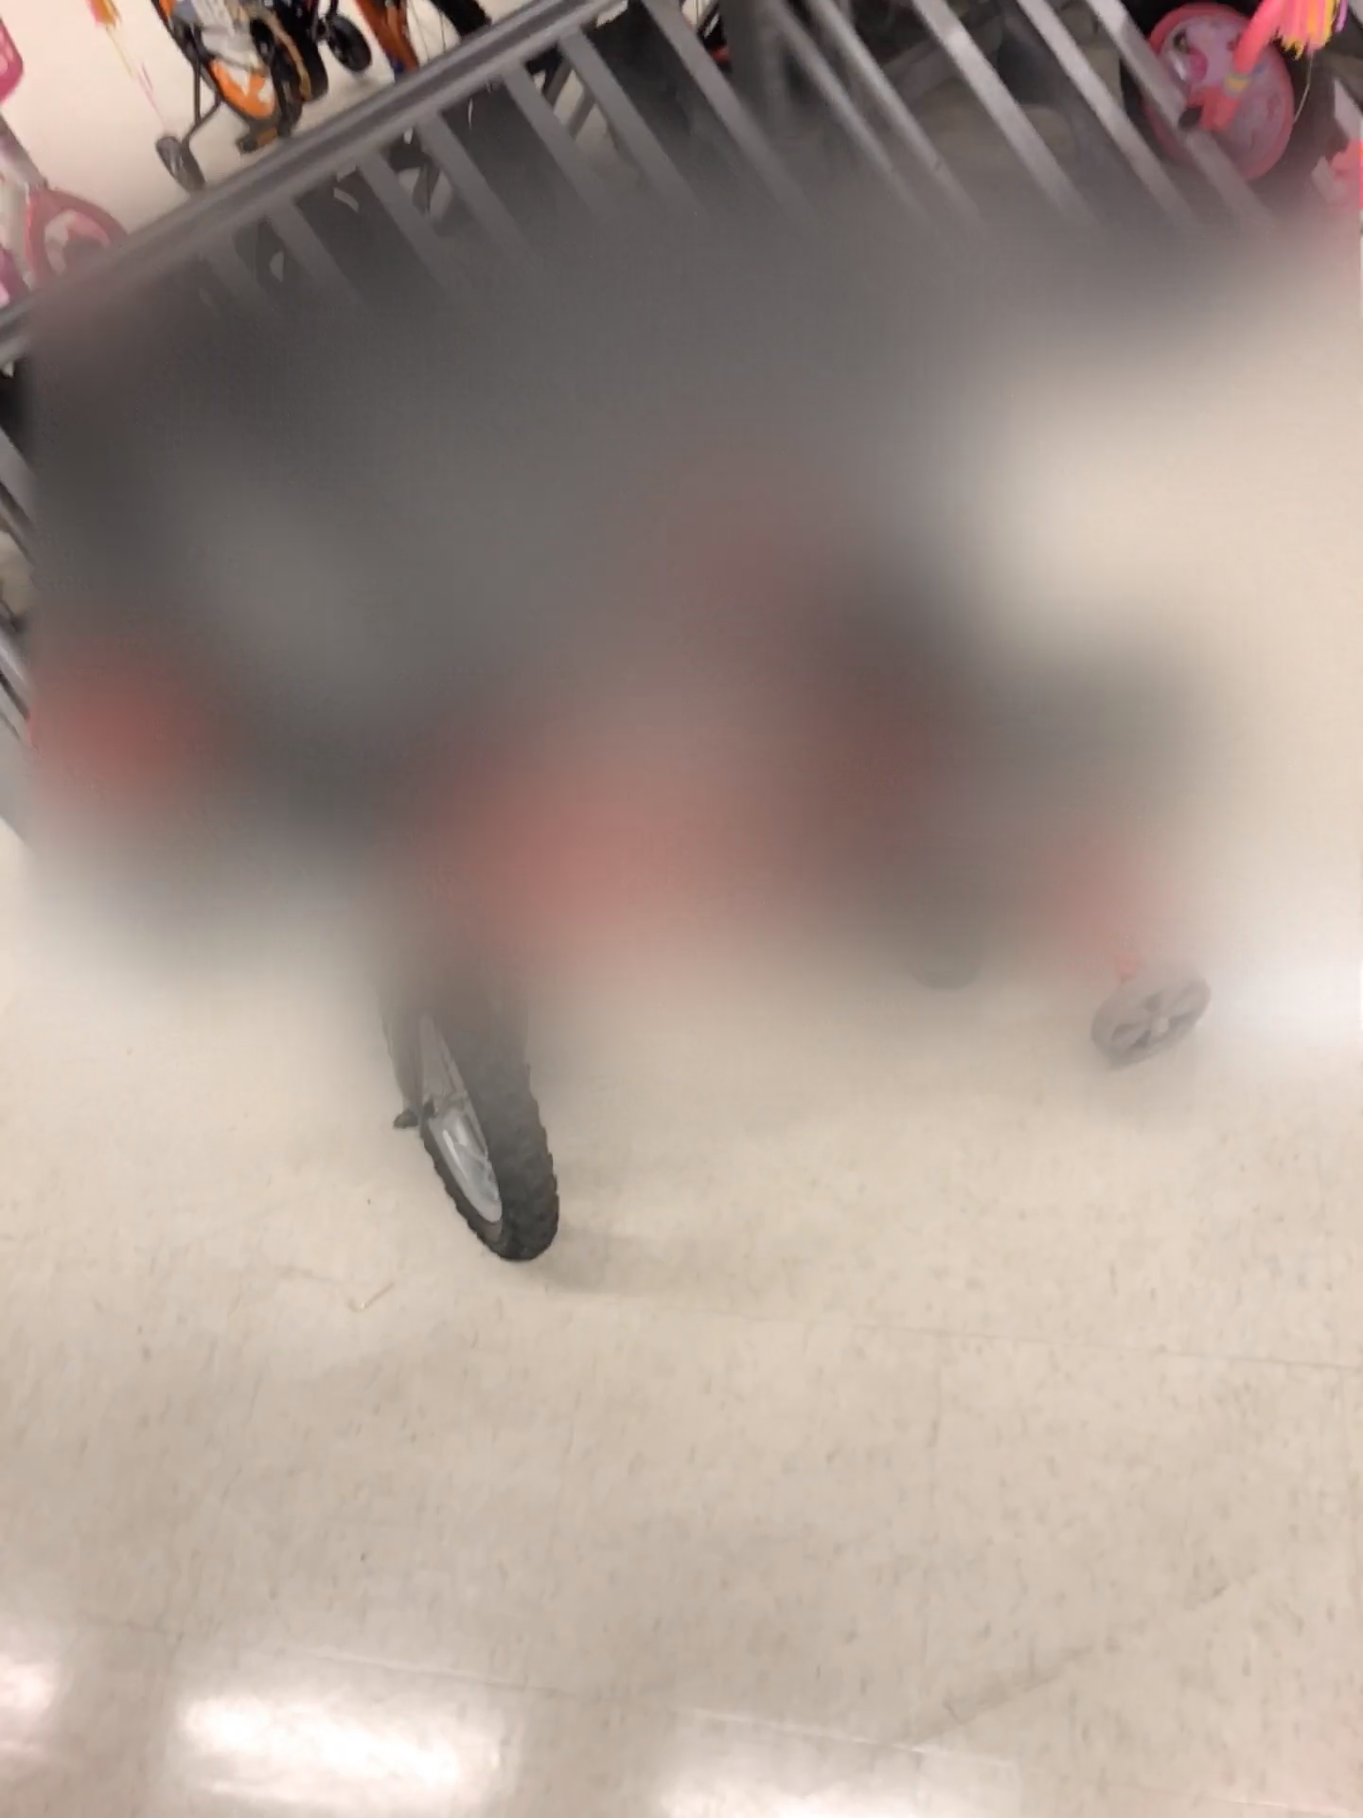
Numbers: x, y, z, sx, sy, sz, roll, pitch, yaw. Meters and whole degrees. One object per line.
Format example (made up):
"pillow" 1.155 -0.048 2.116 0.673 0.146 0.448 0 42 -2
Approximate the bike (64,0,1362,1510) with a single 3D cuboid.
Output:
"bike" 0.114 -0.099 1.096 0.698 0.678 0.534 -35 54 -10
